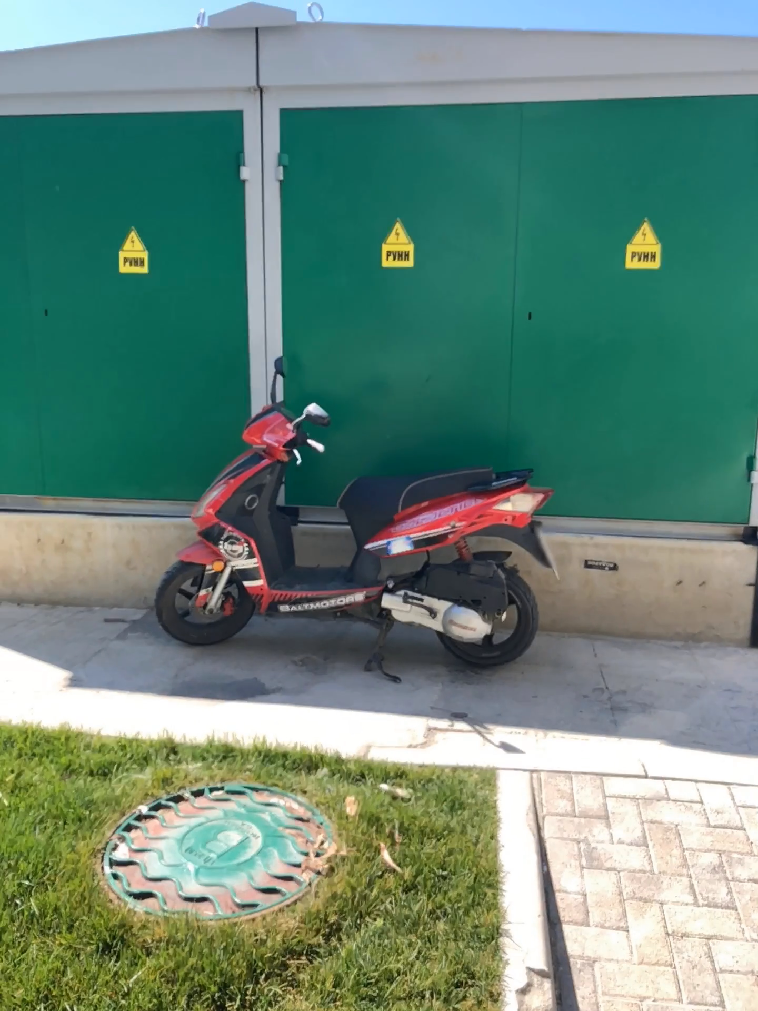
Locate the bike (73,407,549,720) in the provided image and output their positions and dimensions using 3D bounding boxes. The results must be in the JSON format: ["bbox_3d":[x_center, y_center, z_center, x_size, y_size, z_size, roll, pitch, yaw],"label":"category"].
[{"bbox_3d":[-0.212,0.177,3.269,1.590,1.088,0.590,2,10,9],"label":"bike"}]
